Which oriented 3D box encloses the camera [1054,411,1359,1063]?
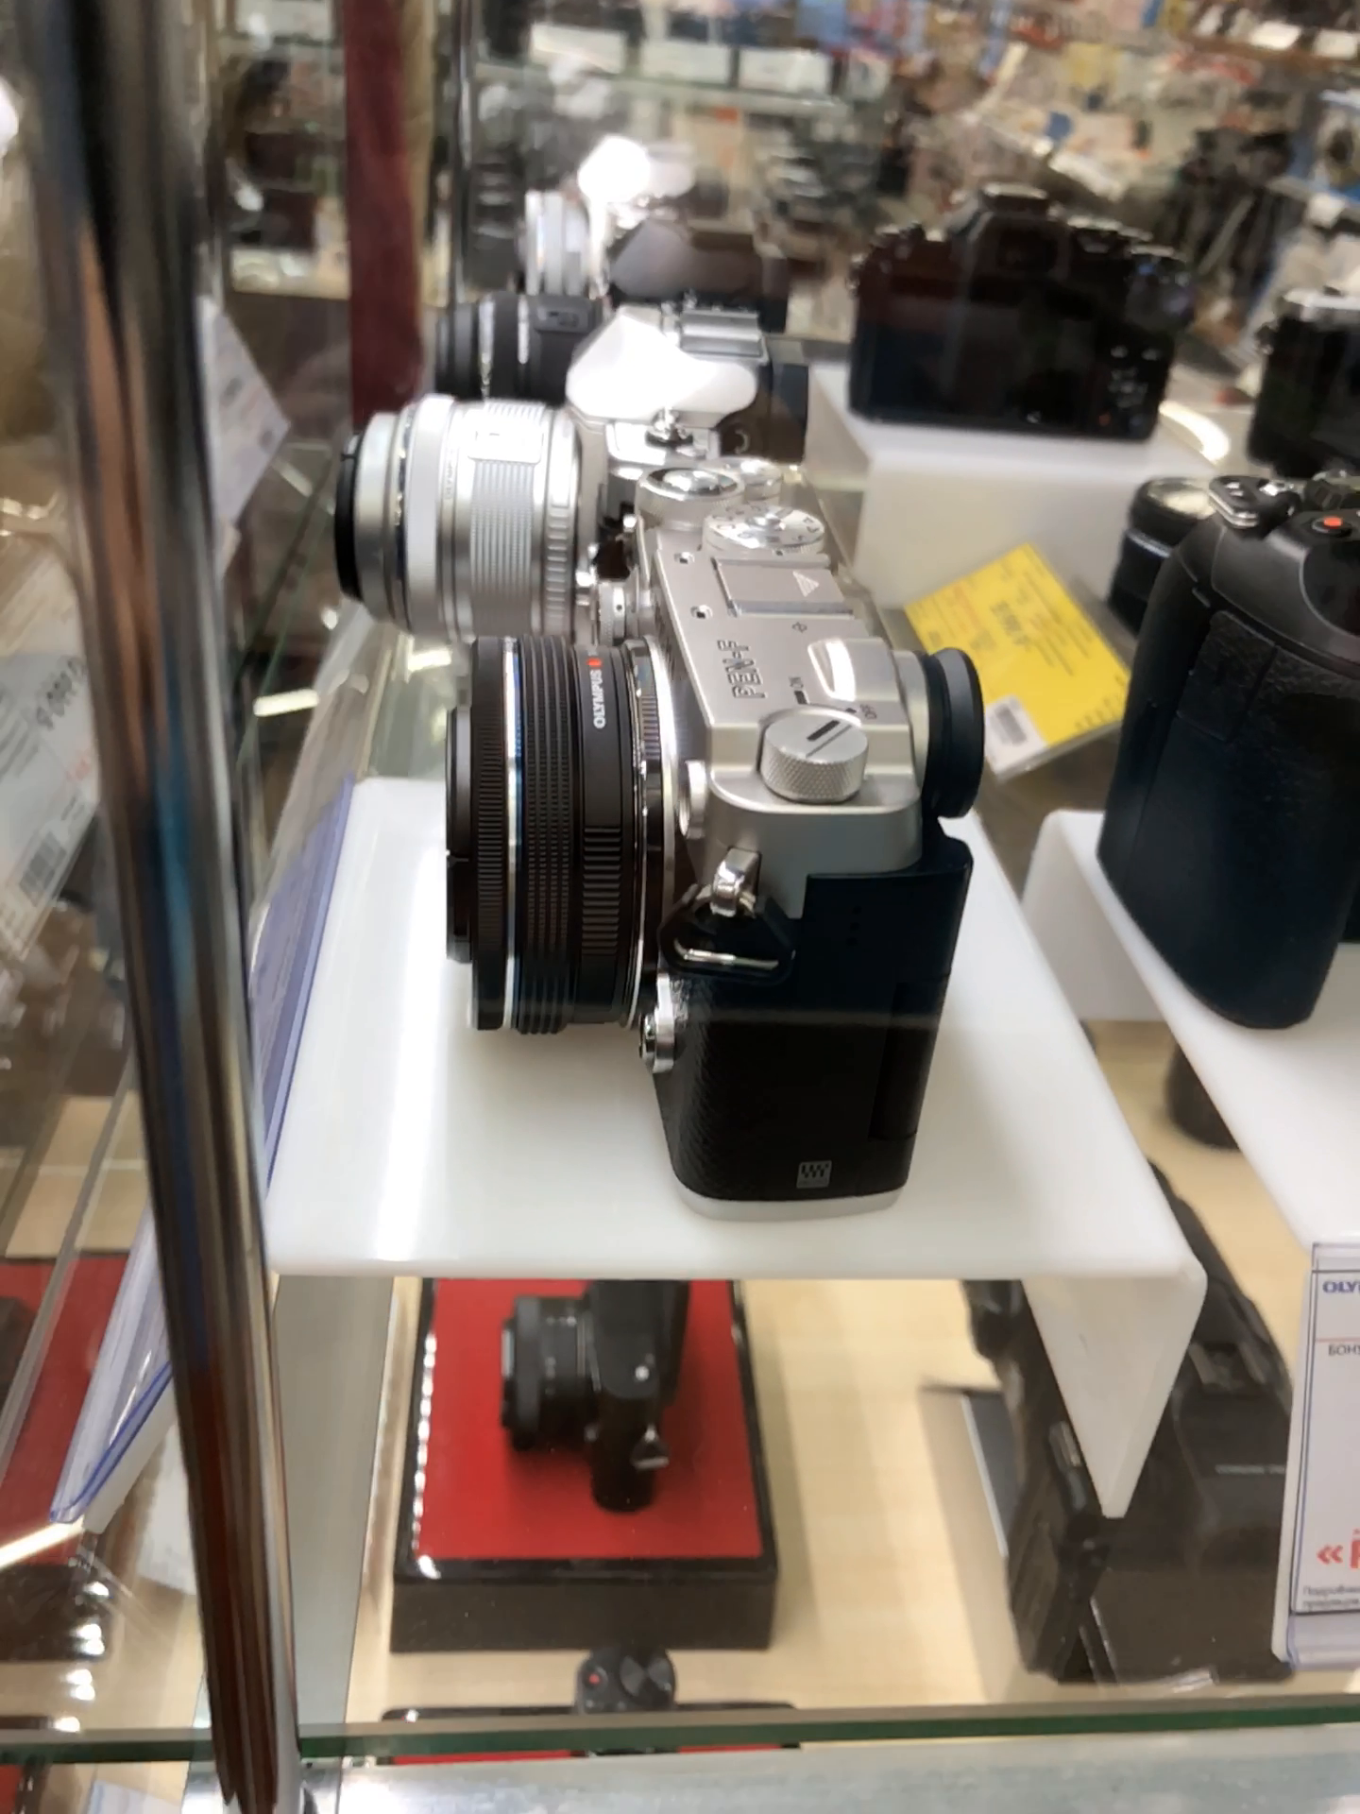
[{"bbox_3d":[0.146,-0.031,0.259,0.127,0.075,0.084,2,32,-7],"label":"camera"}]

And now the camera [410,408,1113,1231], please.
[{"bbox_3d":[0.000,-0.022,0.234,0.076,0.070,0.128,2,32,-8],"label":"camera"}]

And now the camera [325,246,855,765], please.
[{"bbox_3d":[-0.023,-0.099,0.356,0.099,0.075,0.128,3,32,-6],"label":"camera"}]
